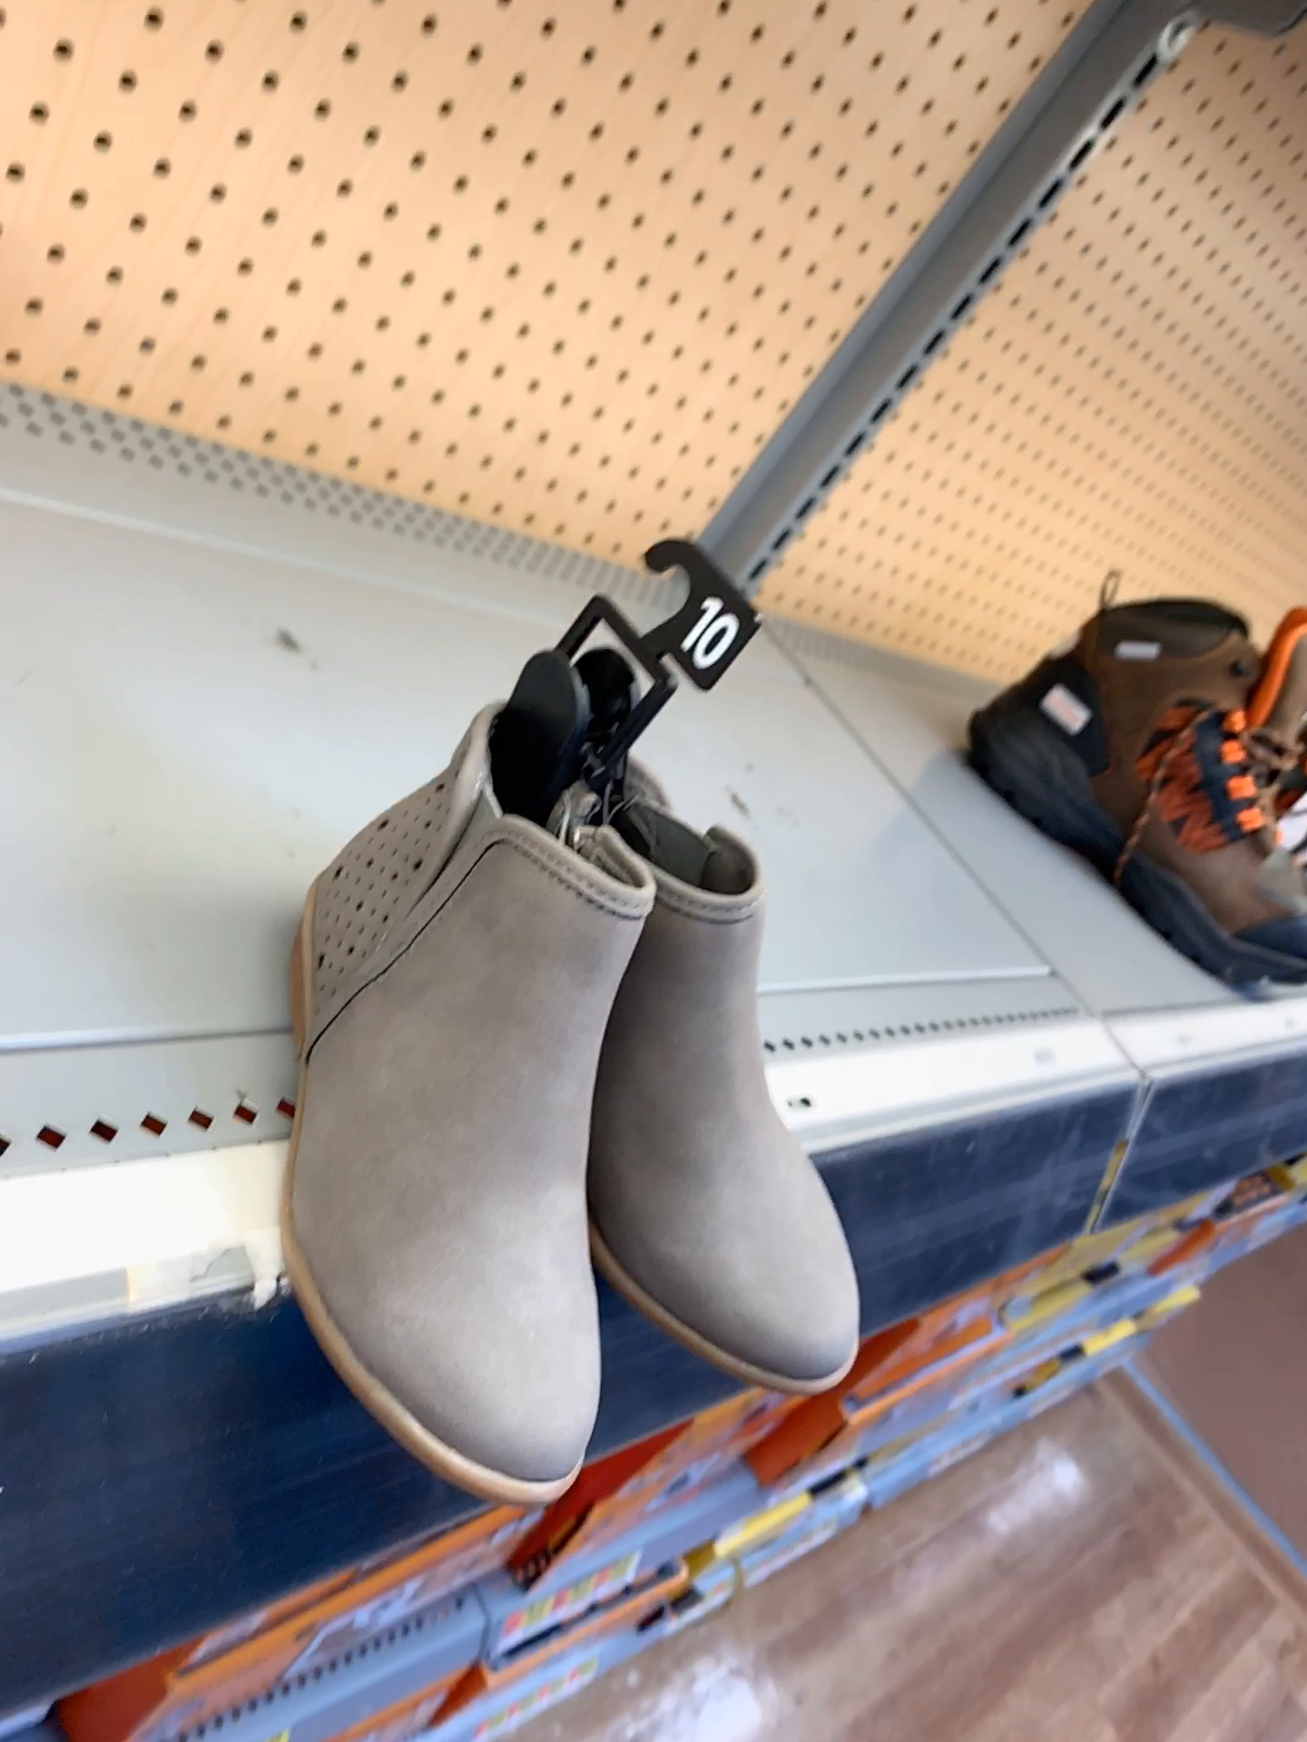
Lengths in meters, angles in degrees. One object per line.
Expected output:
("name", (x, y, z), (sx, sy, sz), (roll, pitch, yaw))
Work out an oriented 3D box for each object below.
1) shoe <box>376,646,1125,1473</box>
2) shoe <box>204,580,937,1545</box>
("shoe", (0.014, 0.046, 0.380), (0.074, 0.113, 0.187), (-17, 59, -41))
("shoe", (-0.036, 0.038, 0.337), (0.087, 0.103, 0.197), (11, 40, -38))
